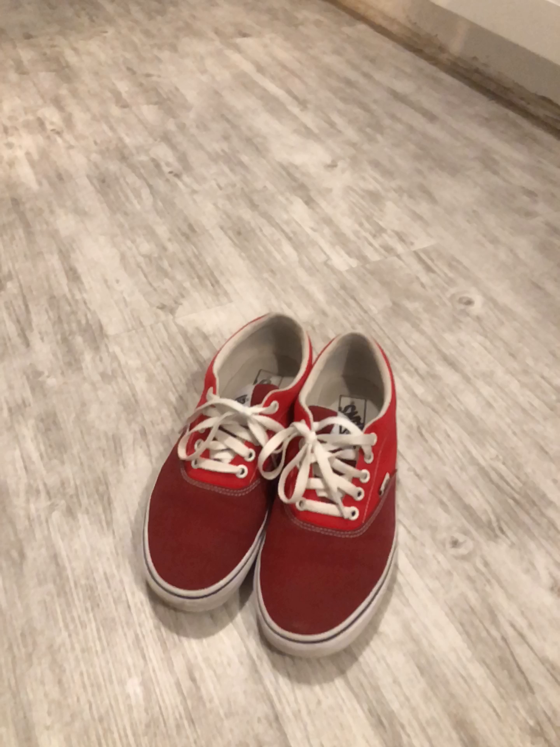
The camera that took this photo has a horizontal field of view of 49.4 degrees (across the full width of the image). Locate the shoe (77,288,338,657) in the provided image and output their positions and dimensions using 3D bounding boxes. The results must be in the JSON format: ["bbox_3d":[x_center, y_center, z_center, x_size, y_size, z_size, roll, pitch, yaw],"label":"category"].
[{"bbox_3d":[-0.039,0.060,0.492,0.110,0.093,0.273,12,47,9],"label":"shoe"}]

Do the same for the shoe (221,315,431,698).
[{"bbox_3d":[0.046,0.082,0.471,0.110,0.088,0.267,10,47,7],"label":"shoe"}]
